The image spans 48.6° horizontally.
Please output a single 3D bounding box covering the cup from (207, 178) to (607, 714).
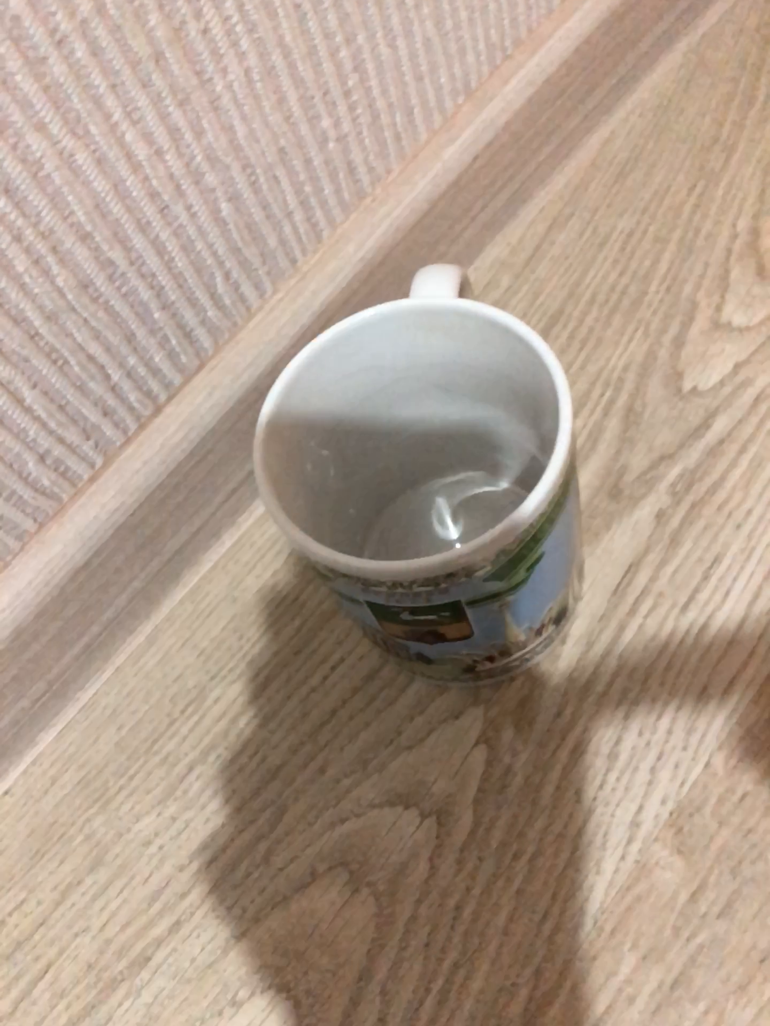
[{"bbox_3d":[0.020,-0.017,0.257,0.082,0.096,0.121,3,63,17],"label":"cup"}]
